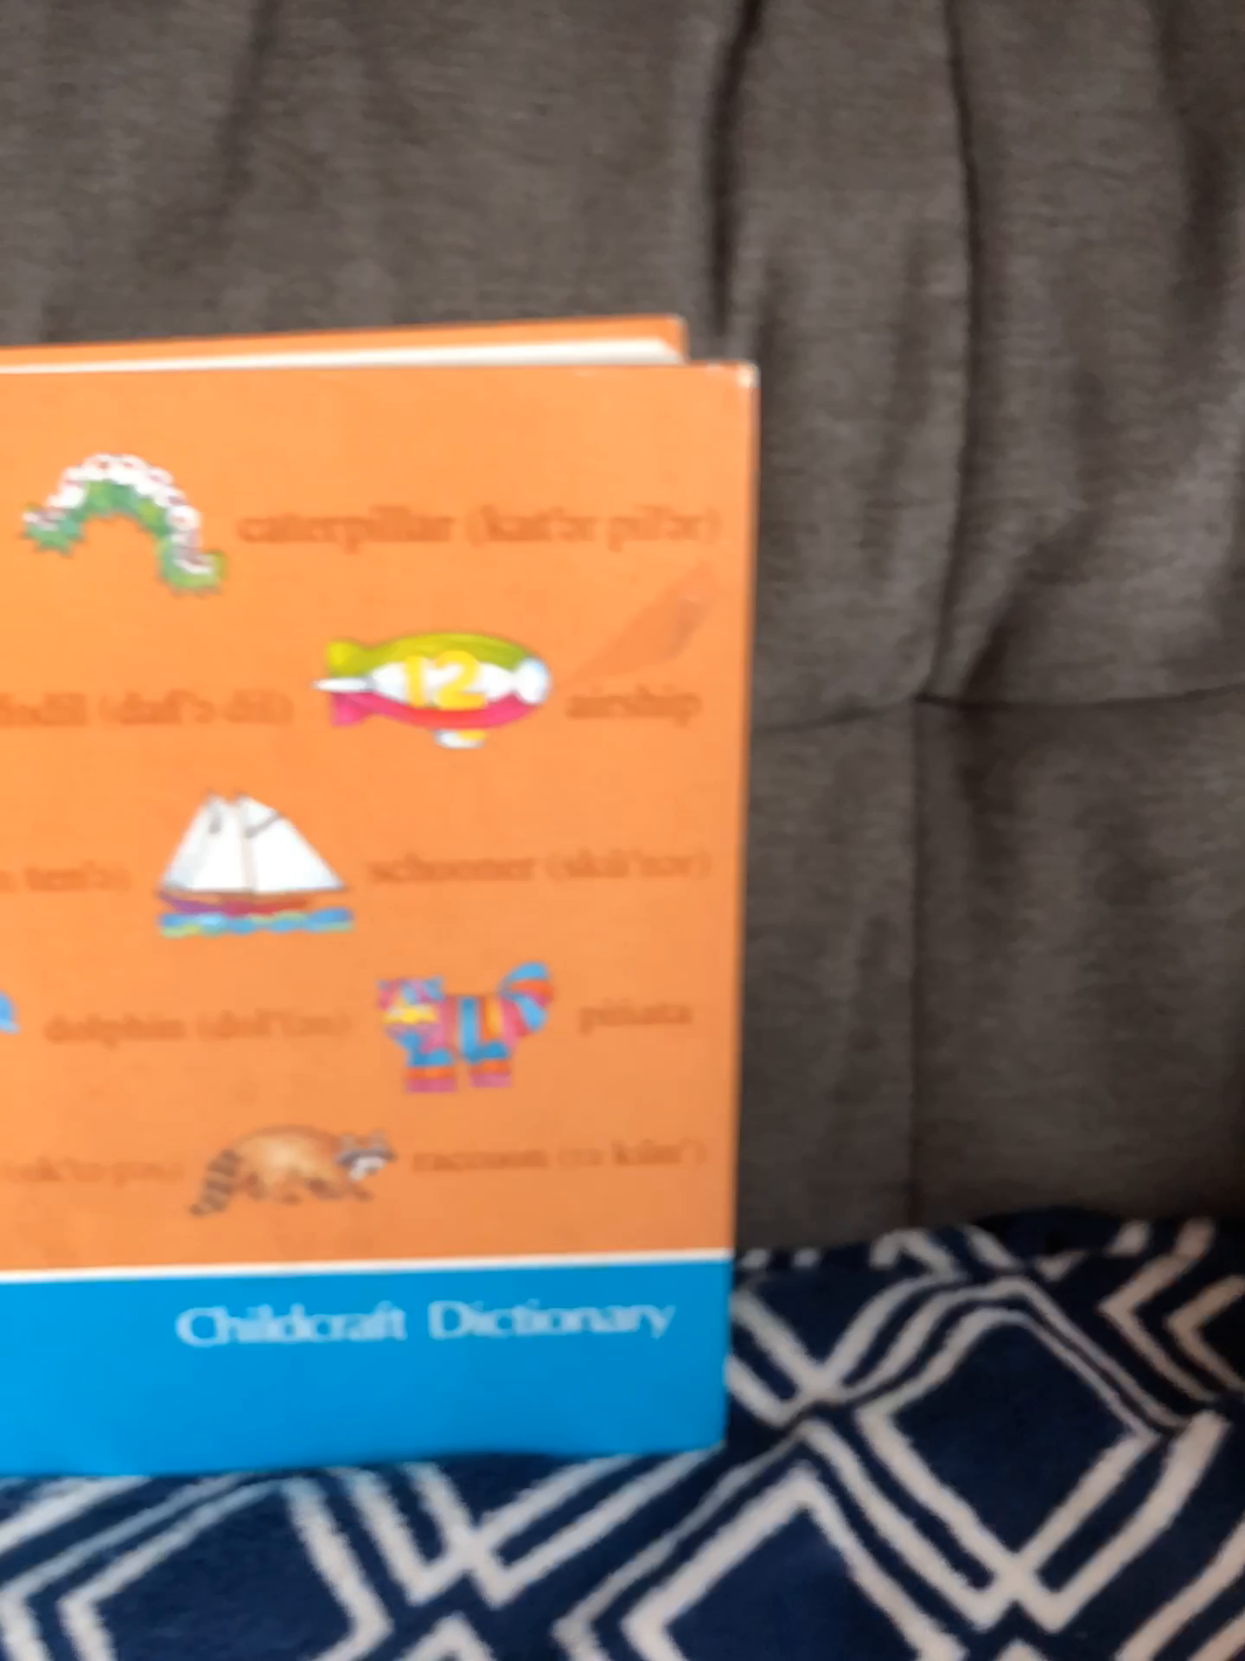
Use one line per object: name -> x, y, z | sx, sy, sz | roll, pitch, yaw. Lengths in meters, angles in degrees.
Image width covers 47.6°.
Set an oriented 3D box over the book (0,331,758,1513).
book -> -0.081, 0.028, 0.317 | 0.210, 0.260, 0.055 | -2, 22, -3
